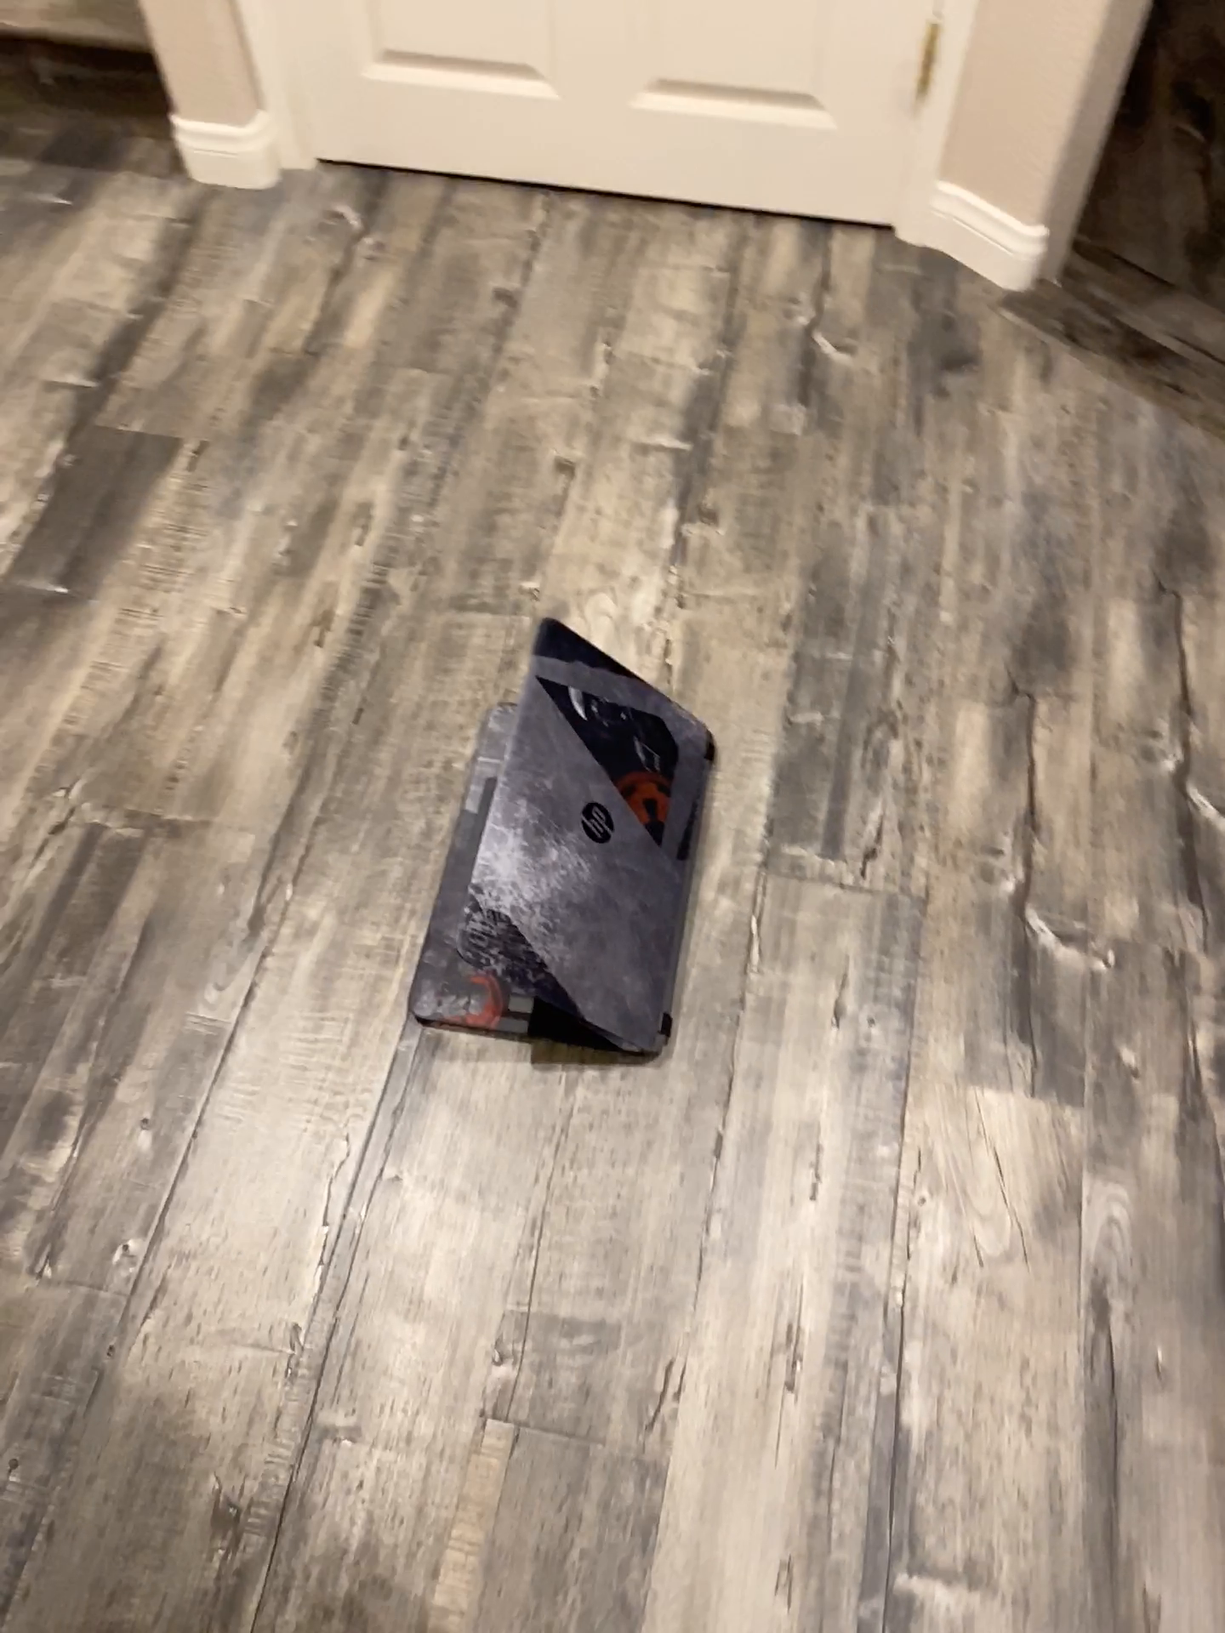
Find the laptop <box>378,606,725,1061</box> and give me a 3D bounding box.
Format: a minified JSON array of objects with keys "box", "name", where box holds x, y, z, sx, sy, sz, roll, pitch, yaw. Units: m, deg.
[{"box":[-0.043,0.011,1.222,0.250,0.177,0.375,8,60,6],"name":"laptop"}]
